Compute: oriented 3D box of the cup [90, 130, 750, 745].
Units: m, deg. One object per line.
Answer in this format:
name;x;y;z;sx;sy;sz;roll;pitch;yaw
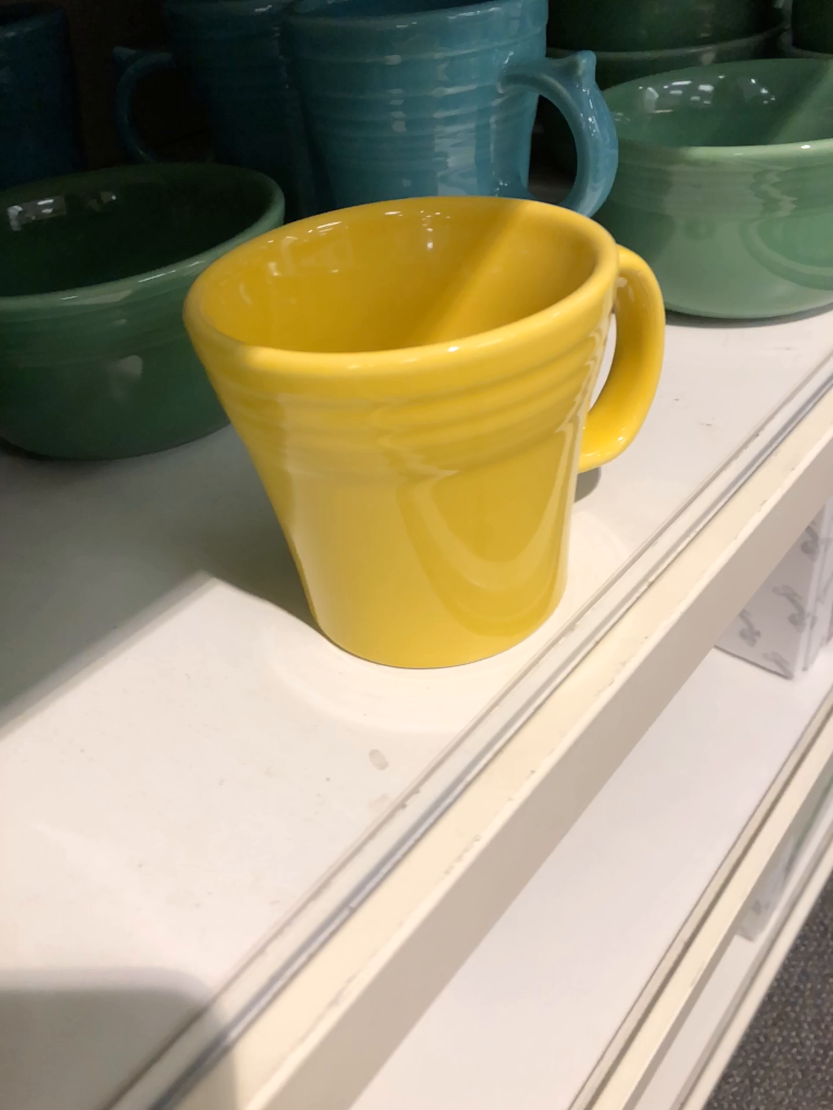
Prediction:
cup;0.007;-0.044;0.264;0.137;0.100;0.097;-34;47;-31
